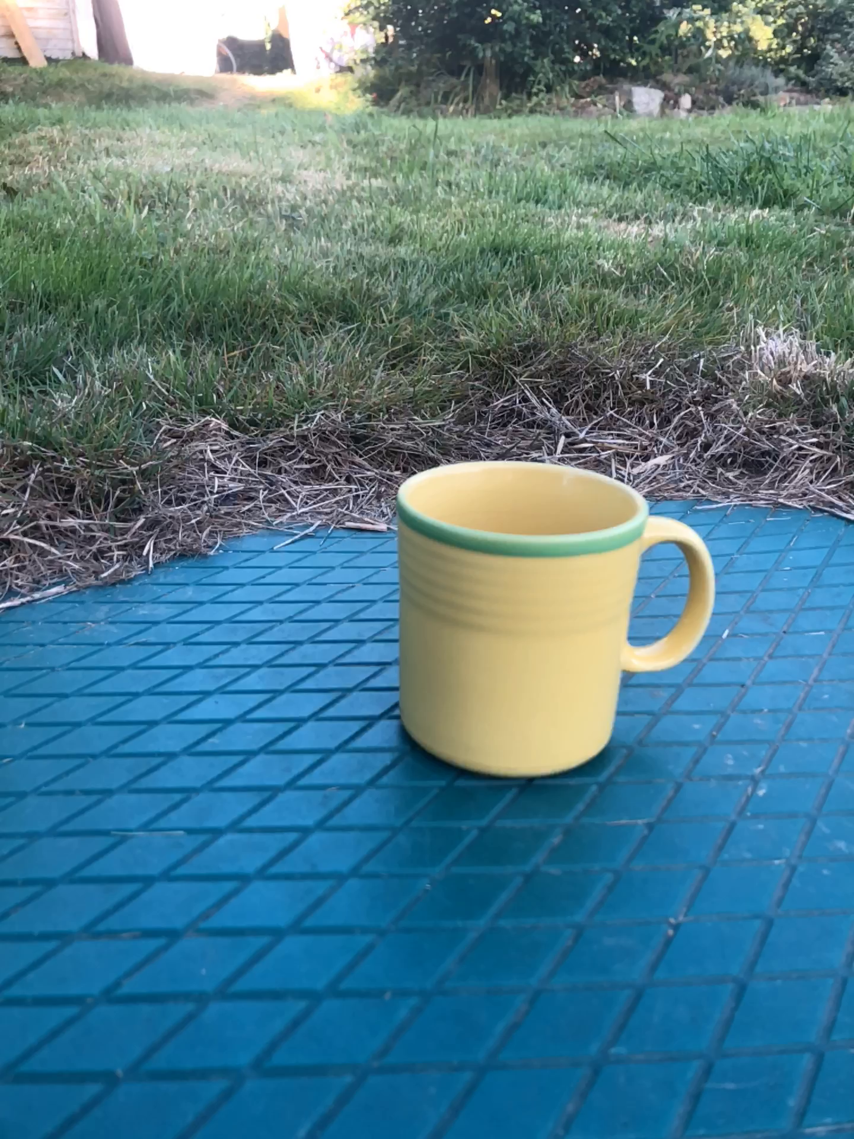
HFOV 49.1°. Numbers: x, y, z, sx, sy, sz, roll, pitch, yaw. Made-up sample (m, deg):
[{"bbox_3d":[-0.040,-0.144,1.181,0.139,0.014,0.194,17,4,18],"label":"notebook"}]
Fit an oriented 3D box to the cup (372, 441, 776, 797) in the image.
[{"bbox_3d":[0.043,0.012,0.334,0.115,0.090,0.086,-4,23,-9],"label":"cup"}]
